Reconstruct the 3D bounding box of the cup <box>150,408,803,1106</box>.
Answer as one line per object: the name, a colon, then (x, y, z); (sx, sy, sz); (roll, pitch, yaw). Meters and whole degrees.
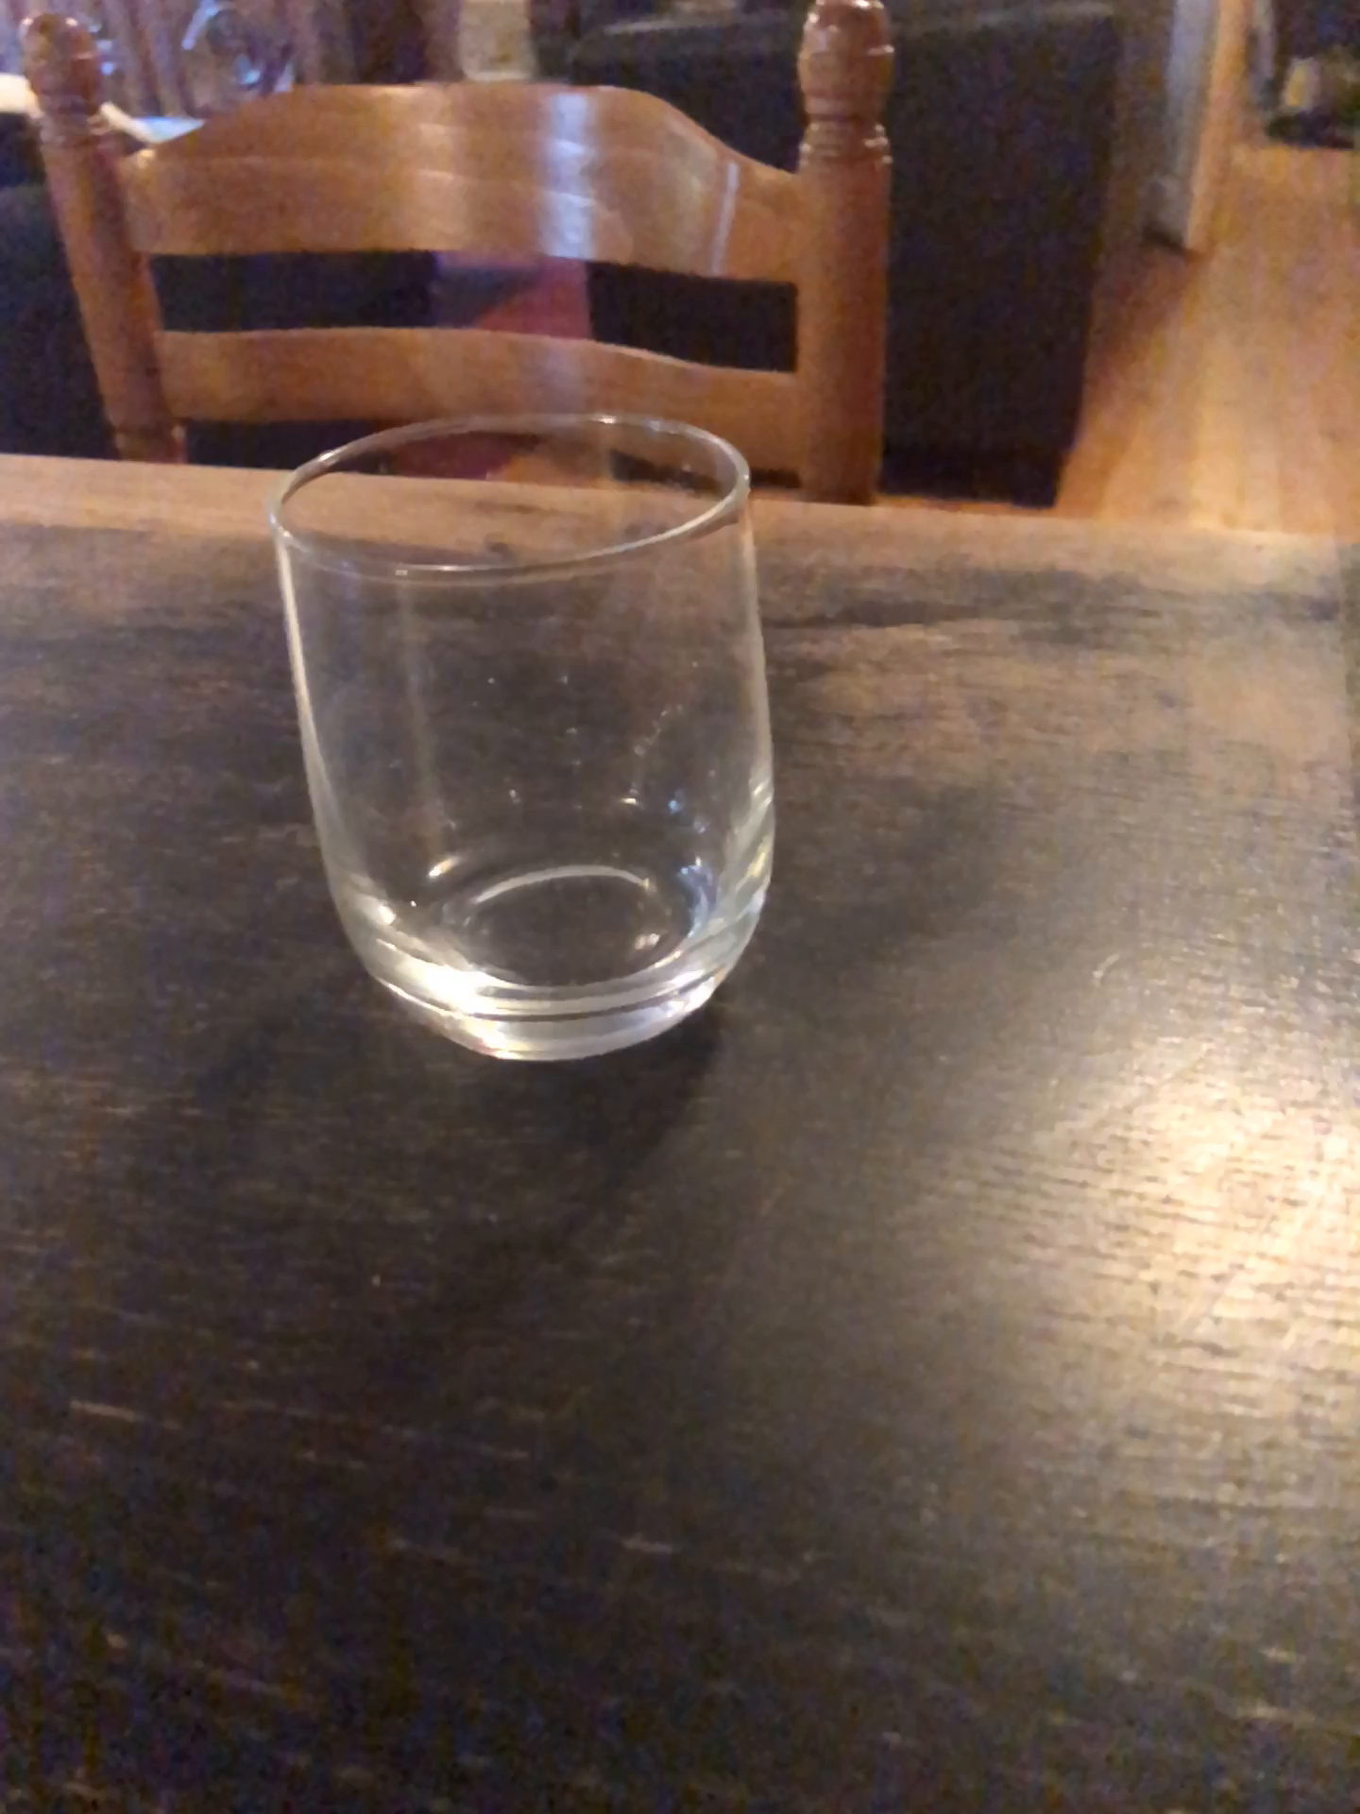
cup: (-0.023, -0.027, 0.243); (0.077, 0.084, 0.071); (-2, 34, 1)
